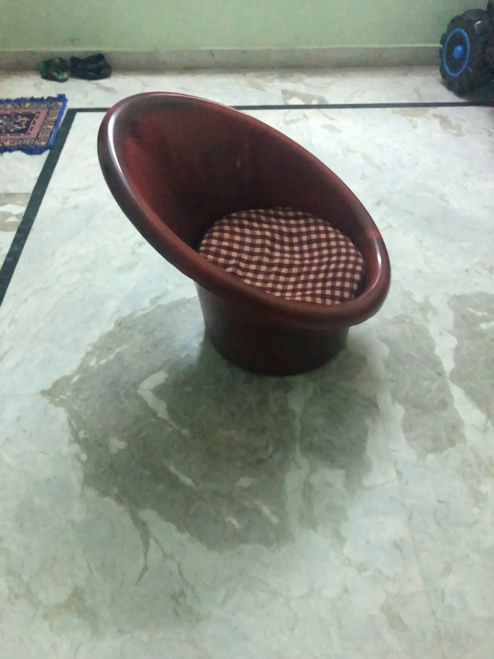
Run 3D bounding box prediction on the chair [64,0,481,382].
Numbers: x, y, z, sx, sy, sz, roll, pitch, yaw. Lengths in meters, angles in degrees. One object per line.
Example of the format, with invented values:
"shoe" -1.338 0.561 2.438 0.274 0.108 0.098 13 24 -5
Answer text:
"chair" 0.076 -0.349 1.241 0.630 0.546 0.675 6 46 6
